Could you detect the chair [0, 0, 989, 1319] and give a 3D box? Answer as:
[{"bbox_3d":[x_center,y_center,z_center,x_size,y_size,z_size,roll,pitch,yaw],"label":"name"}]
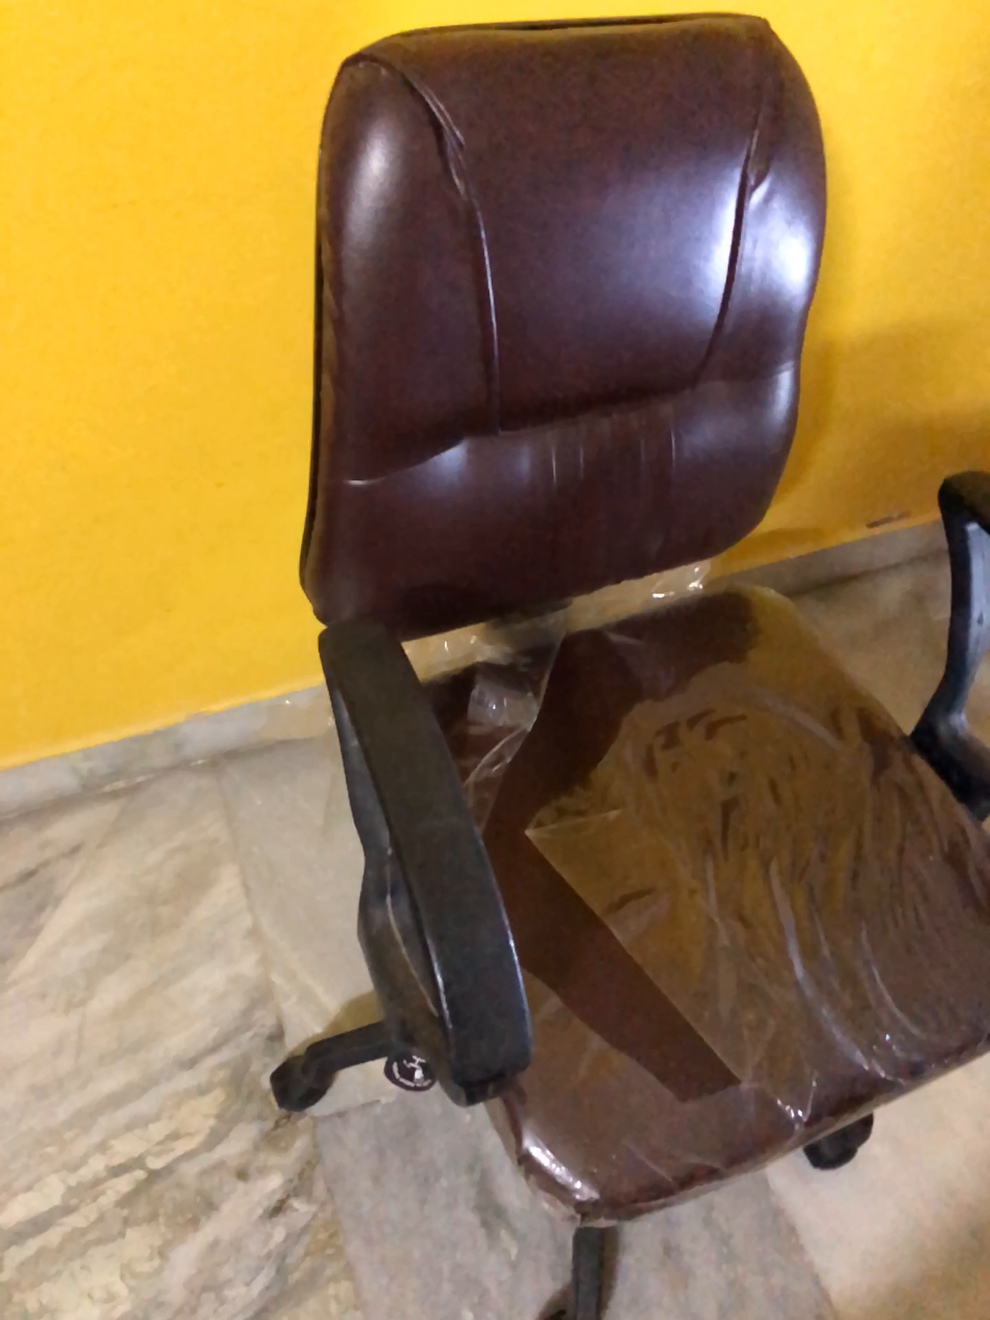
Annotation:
[{"bbox_3d":[0.129,0.088,0.875,0.692,0.974,0.682,-19,55,-19],"label":"chair"}]
